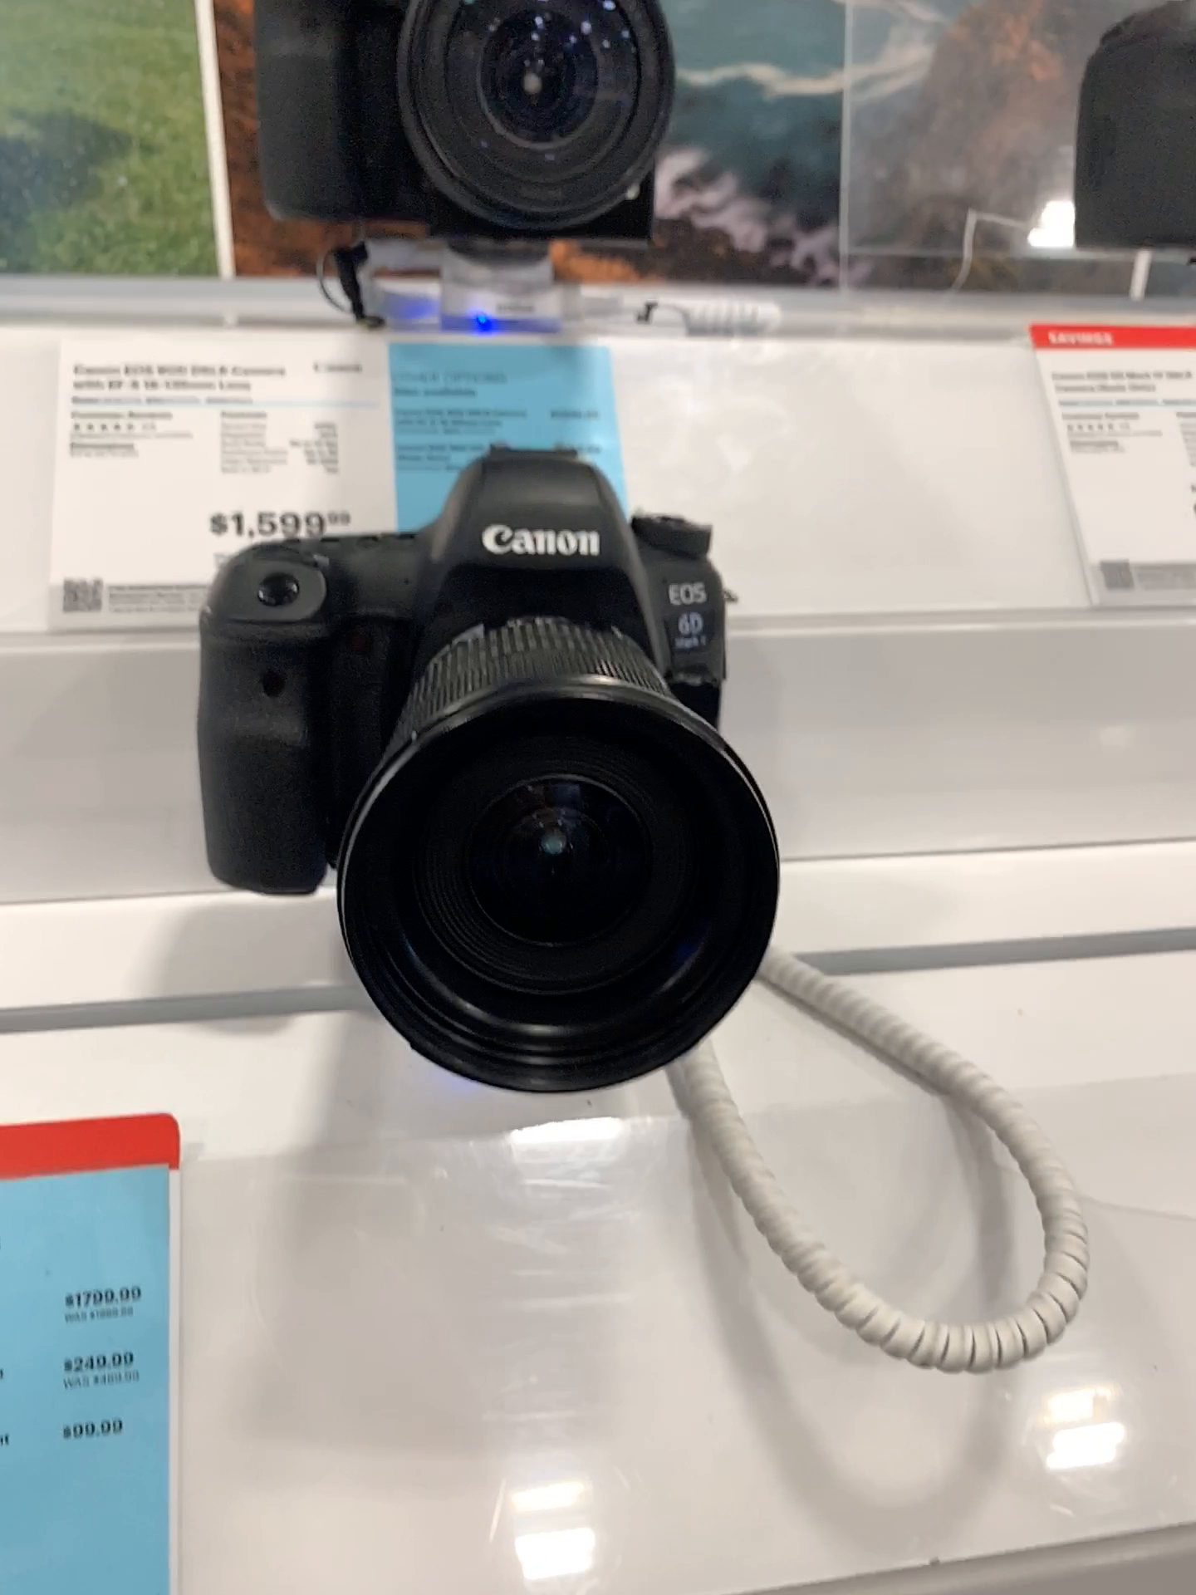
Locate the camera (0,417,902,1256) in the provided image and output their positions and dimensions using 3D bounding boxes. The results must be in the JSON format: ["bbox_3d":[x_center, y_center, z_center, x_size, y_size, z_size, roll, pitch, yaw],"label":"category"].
[{"bbox_3d":[-0.034,-0.014,0.292,0.137,0.123,0.180,-3,24,-8],"label":"camera"}]
